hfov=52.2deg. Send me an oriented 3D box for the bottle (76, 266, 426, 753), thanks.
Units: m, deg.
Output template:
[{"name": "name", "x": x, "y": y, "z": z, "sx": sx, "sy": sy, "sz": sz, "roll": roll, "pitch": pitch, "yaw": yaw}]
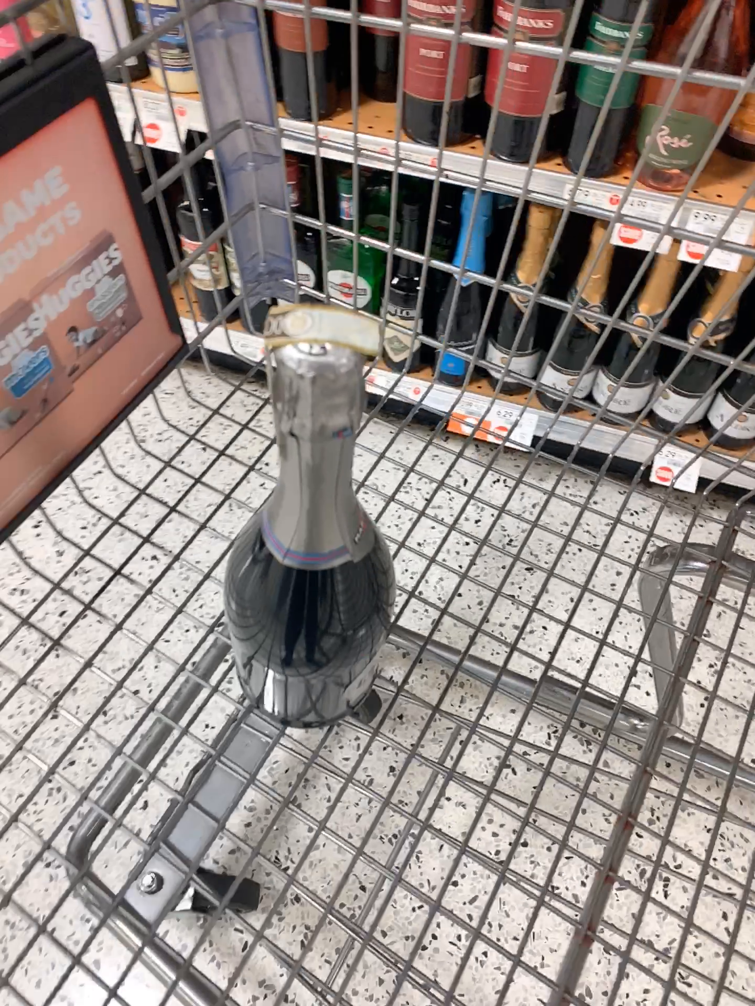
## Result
[{"name": "bottle", "x": -0.047, "y": 0.031, "z": 0.440, "sx": 0.110, "sy": 0.298, "sz": 0.111, "roll": 0, "pitch": 56, "yaw": 0}]
